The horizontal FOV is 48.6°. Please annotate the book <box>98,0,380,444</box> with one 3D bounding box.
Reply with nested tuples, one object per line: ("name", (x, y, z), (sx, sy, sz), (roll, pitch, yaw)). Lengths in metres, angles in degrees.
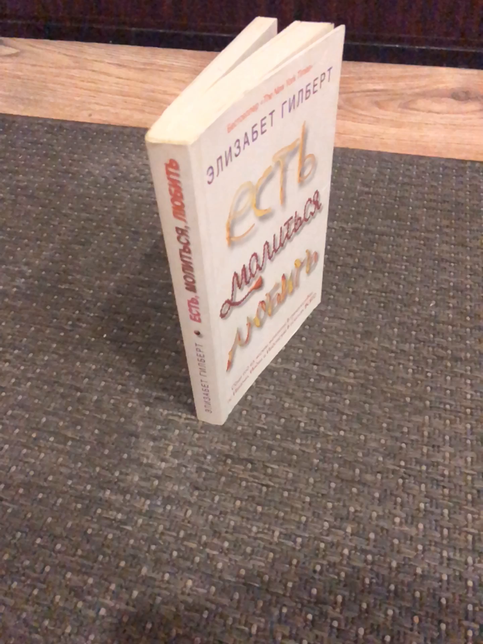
("book", (0.008, -0.055, 0.338), (0.068, 0.214, 0.161), (22, 51, 19))
